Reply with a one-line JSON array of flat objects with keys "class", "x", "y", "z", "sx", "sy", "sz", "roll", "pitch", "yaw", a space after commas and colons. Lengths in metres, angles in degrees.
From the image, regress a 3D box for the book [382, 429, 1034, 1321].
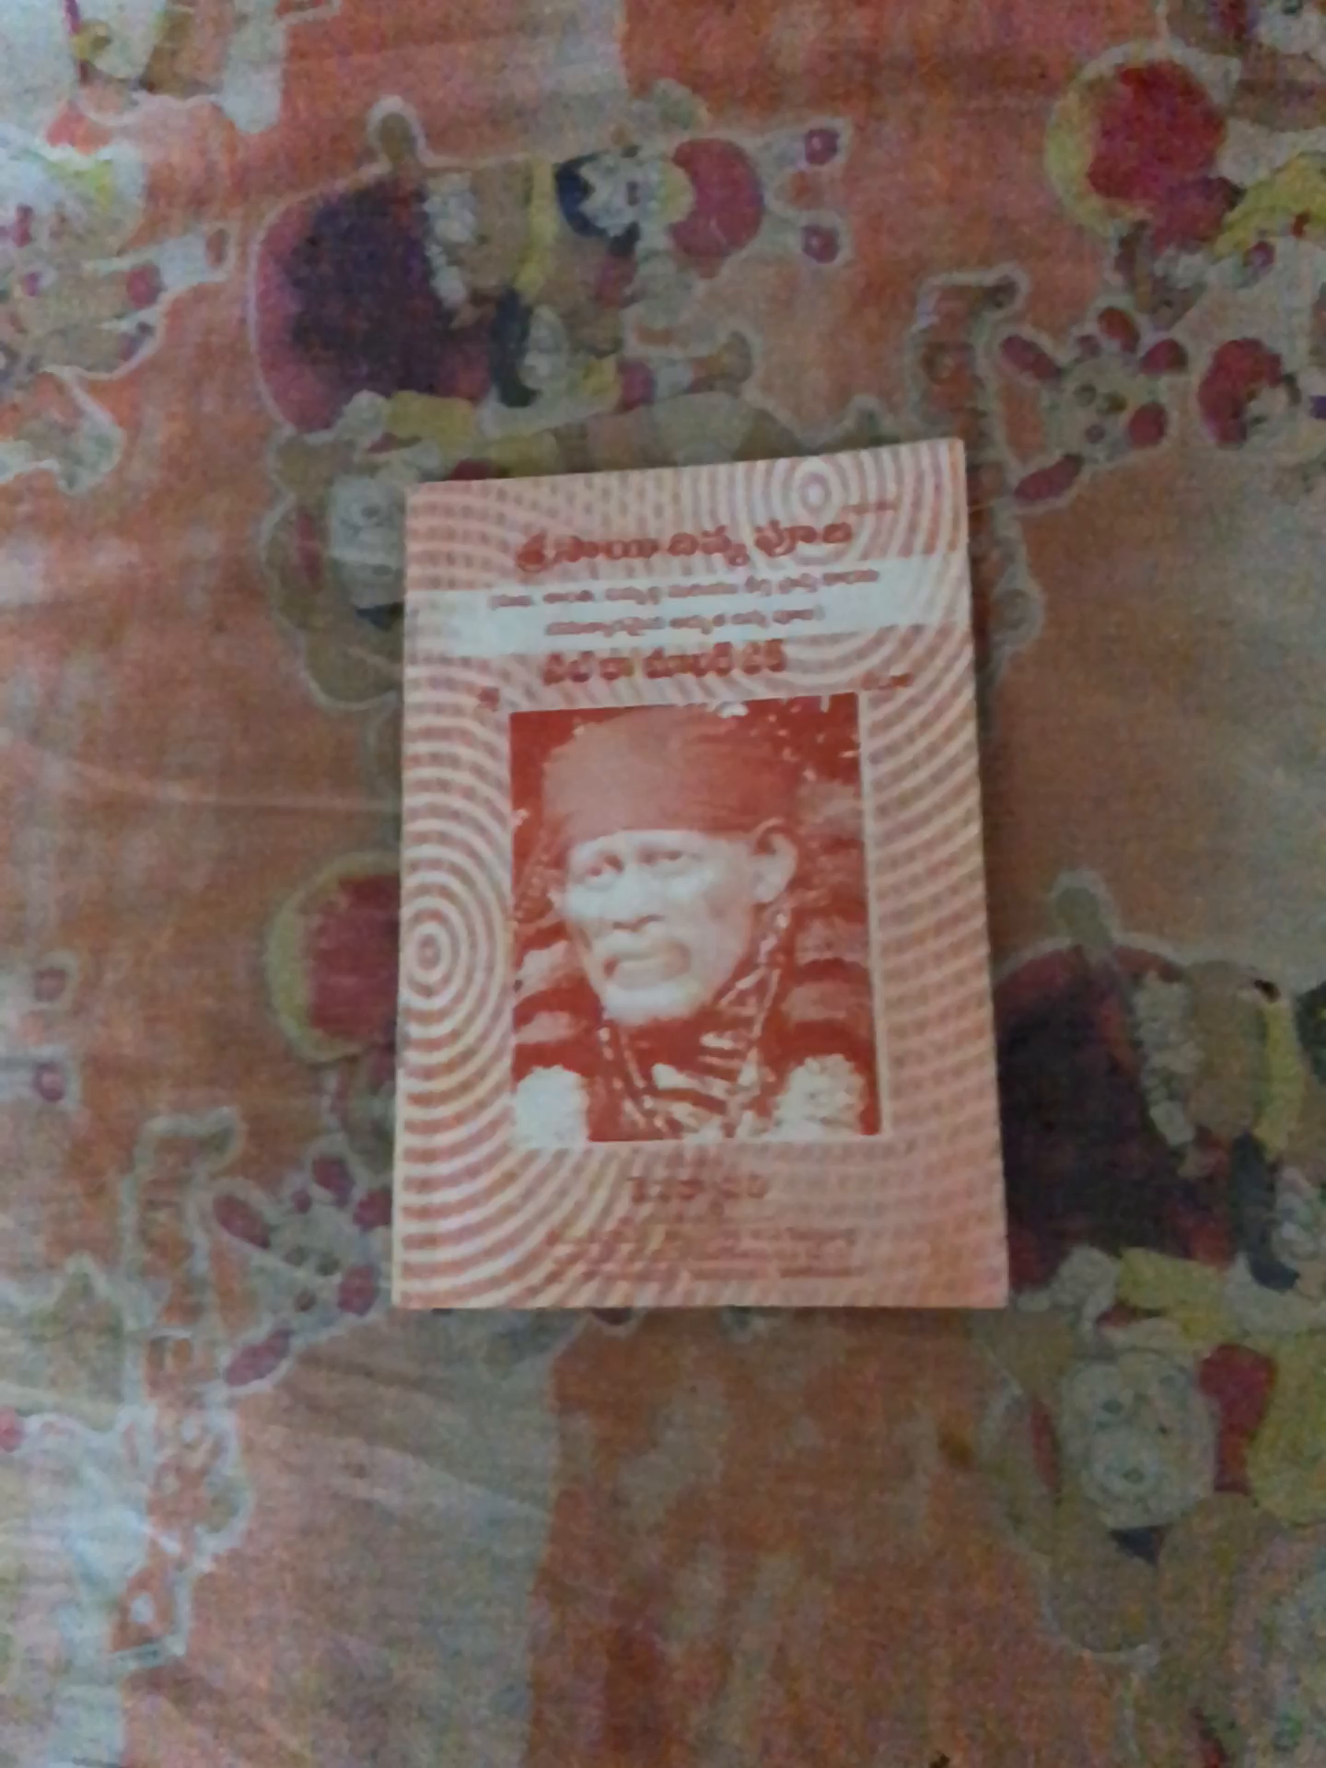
[{"class": "book", "x": 0.007, "y": -0.004, "z": 0.293, "sx": 0.120, "sy": 0.010, "sz": 0.173, "roll": -2, "pitch": 79, "yaw": 7}]
